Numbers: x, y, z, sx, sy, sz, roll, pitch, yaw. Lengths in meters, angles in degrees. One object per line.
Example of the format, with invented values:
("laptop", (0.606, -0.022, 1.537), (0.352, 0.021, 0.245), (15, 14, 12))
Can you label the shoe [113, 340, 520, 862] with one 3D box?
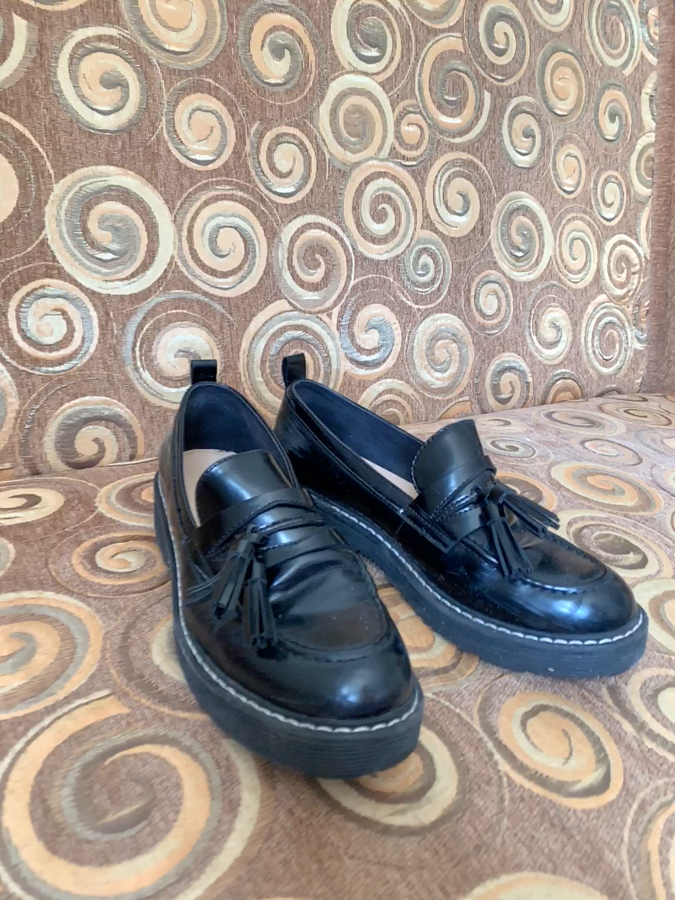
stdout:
("shoe", (-0.038, 0.037, 0.329), (0.090, 0.099, 0.241), (-5, 30, -27))

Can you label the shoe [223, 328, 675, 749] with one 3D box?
("shoe", (0.054, 0.024, 0.372), (0.241, 0.099, 0.090), (28, 32, 33))
